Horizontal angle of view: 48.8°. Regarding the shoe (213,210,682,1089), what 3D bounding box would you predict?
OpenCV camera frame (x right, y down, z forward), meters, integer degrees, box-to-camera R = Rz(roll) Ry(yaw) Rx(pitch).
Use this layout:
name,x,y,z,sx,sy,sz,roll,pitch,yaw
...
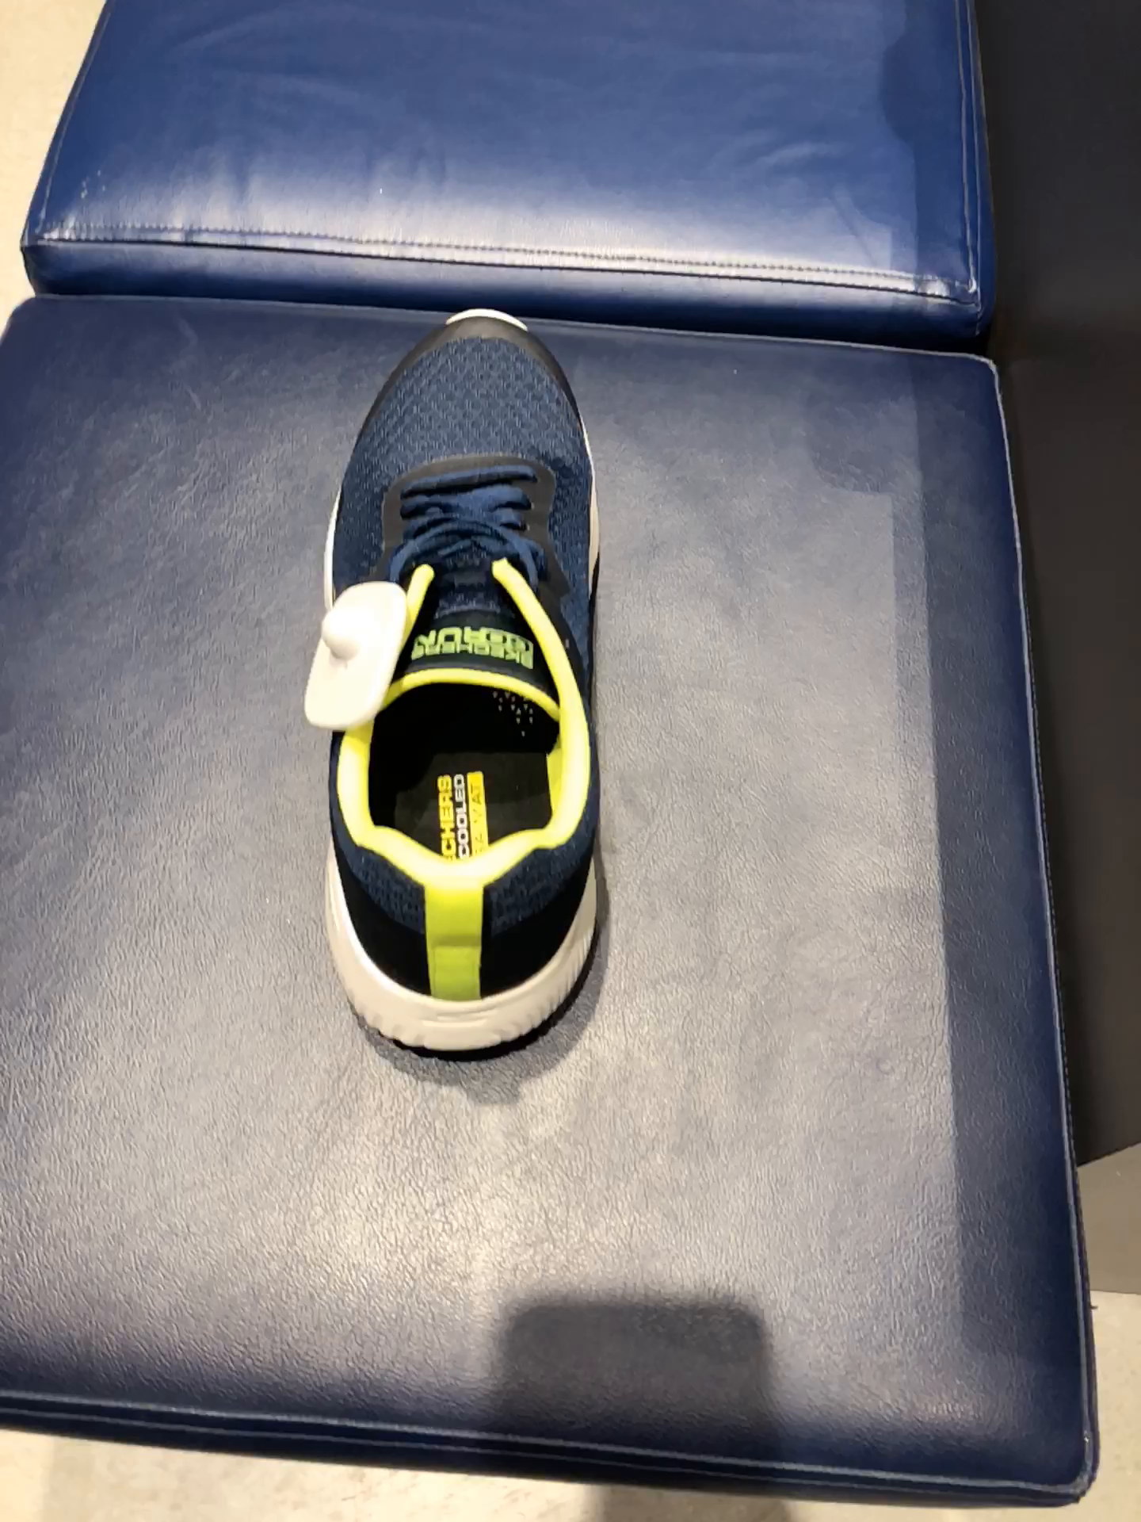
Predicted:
name,x,y,z,sx,sy,sz,roll,pitch,yaw
shoe,-0.038,-0.036,0.419,0.113,0.132,0.256,-3,64,-2
